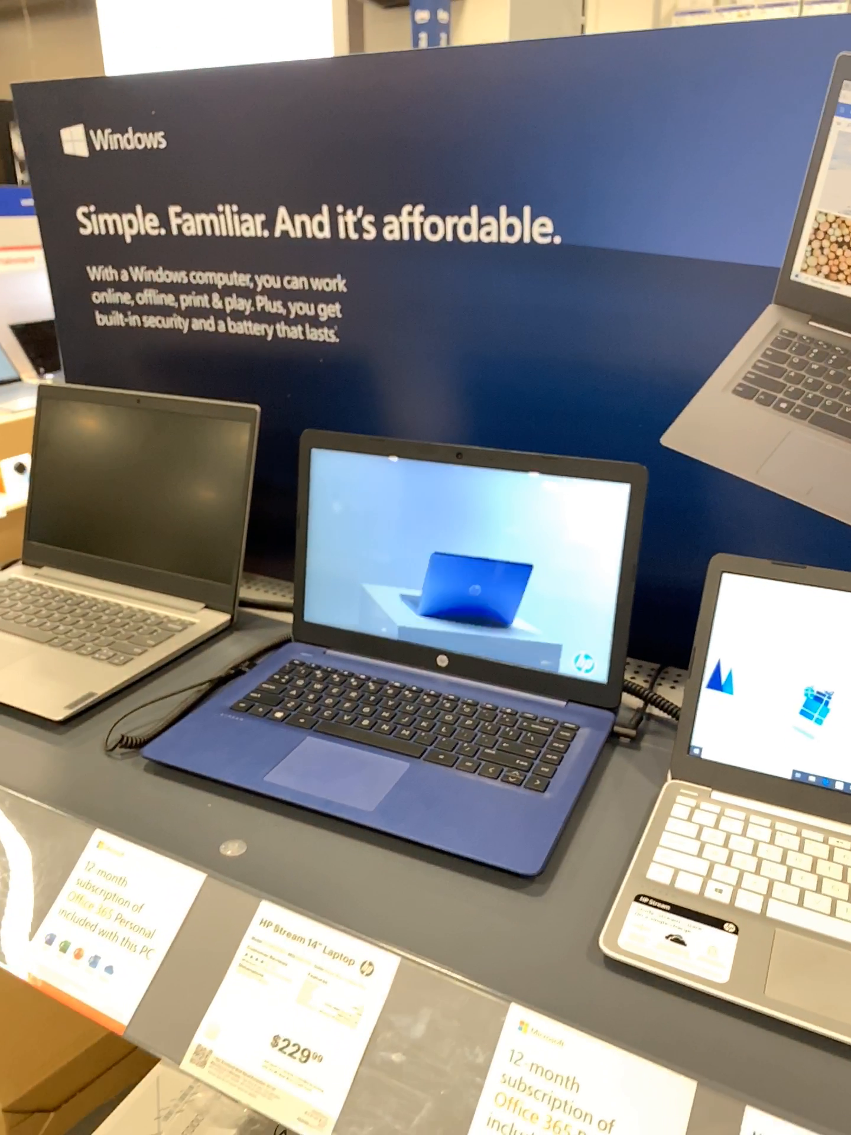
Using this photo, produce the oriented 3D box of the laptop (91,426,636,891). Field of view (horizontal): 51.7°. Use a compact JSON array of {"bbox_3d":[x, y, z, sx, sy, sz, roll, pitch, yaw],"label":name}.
[{"bbox_3d":[-0.032,0.036,0.686,0.322,0.208,0.253,11,24,22],"label":"laptop"}]
